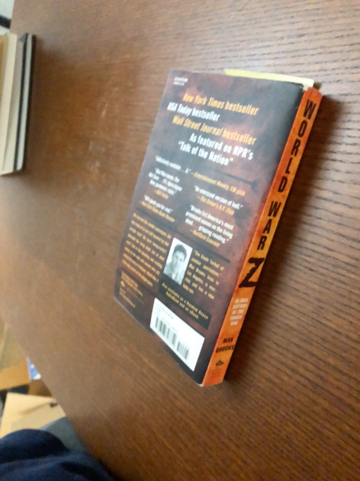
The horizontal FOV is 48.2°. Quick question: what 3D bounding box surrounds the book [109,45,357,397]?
[{"bbox_3d":[0.018,-0.023,0.301,0.141,0.030,0.220,34,112,46],"label":"book"}]
